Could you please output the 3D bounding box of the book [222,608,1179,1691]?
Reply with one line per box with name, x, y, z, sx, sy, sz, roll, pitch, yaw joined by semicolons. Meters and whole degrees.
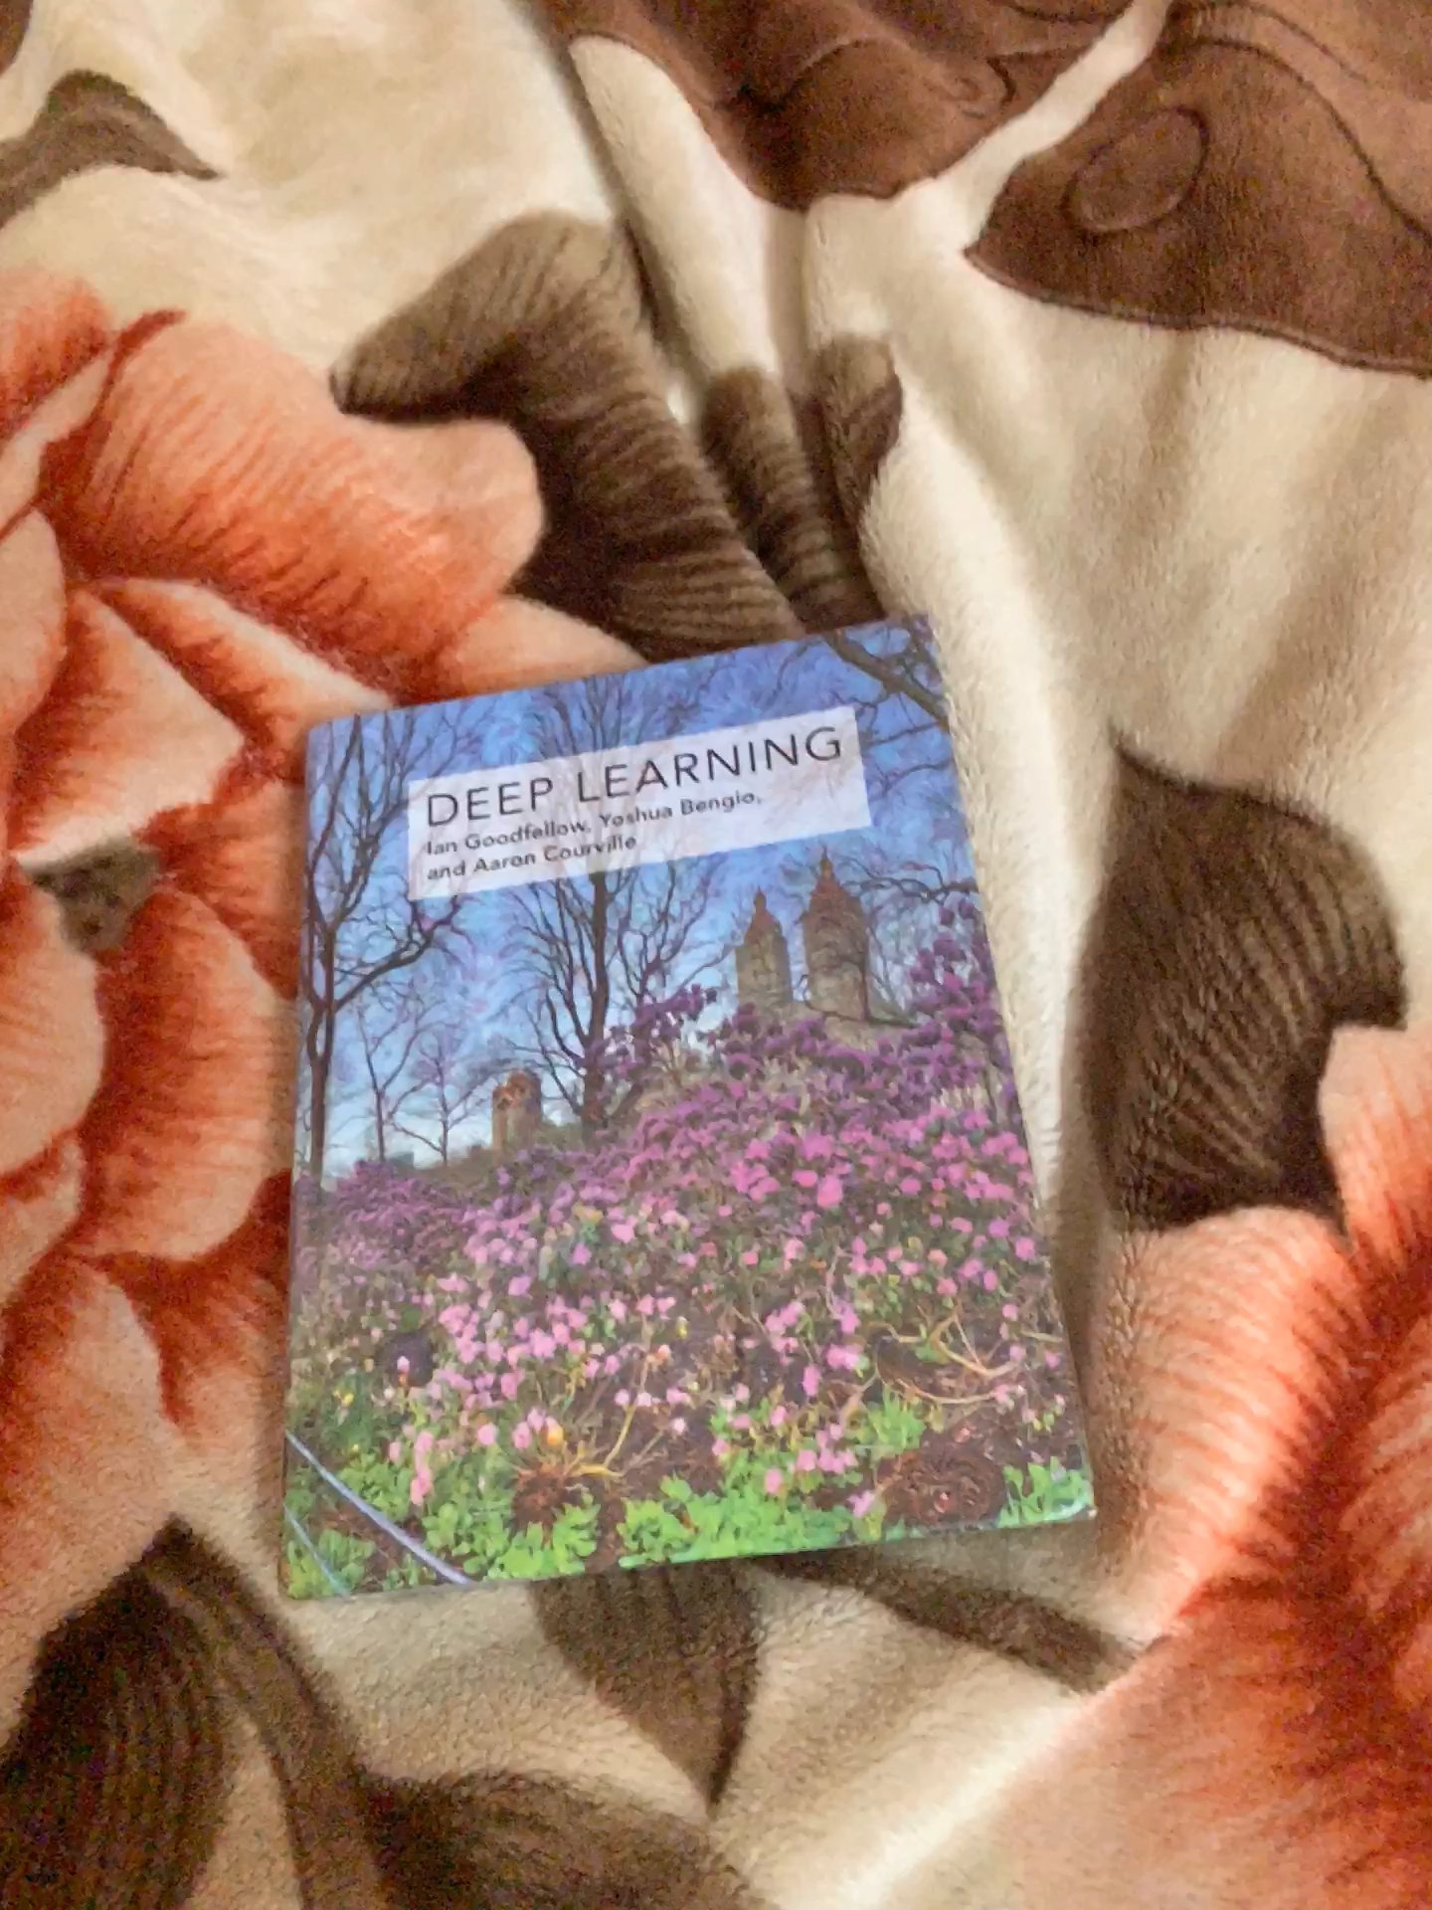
book;-0.016;0.038;0.391;0.210;0.030;0.261;-8;64;5
